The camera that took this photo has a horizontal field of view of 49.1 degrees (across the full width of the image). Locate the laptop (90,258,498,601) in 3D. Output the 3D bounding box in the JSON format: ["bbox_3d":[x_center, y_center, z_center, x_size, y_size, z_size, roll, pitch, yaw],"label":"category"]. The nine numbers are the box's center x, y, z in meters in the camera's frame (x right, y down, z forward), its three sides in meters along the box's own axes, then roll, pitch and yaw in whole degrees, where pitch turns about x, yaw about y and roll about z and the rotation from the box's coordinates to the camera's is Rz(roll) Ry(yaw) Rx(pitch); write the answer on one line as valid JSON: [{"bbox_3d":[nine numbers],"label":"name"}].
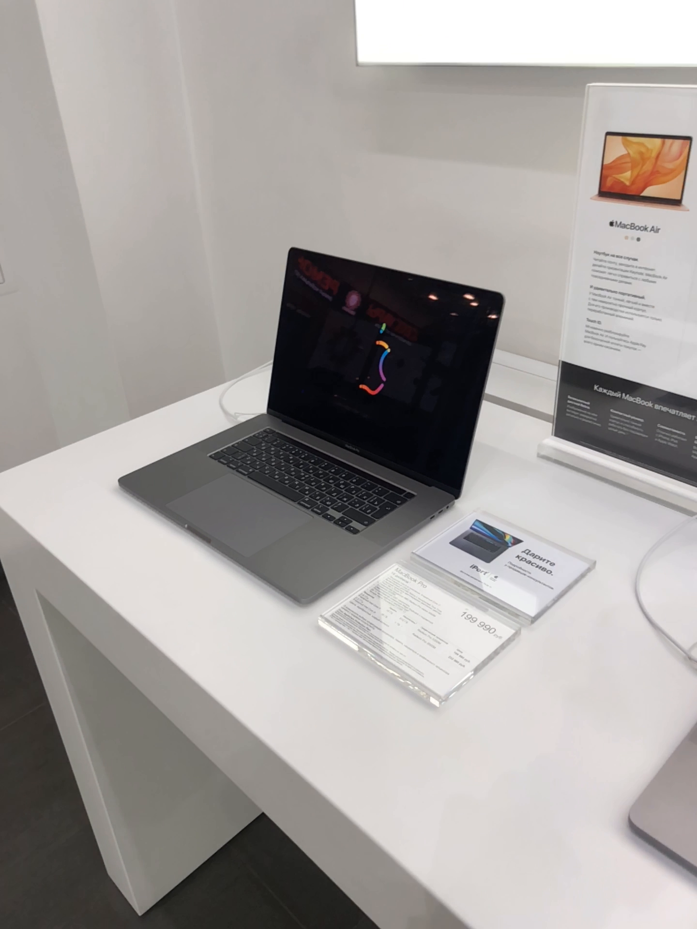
[{"bbox_3d":[-0.057,-0.073,0.884,0.328,0.209,0.310,23,40,39],"label":"laptop"}]
